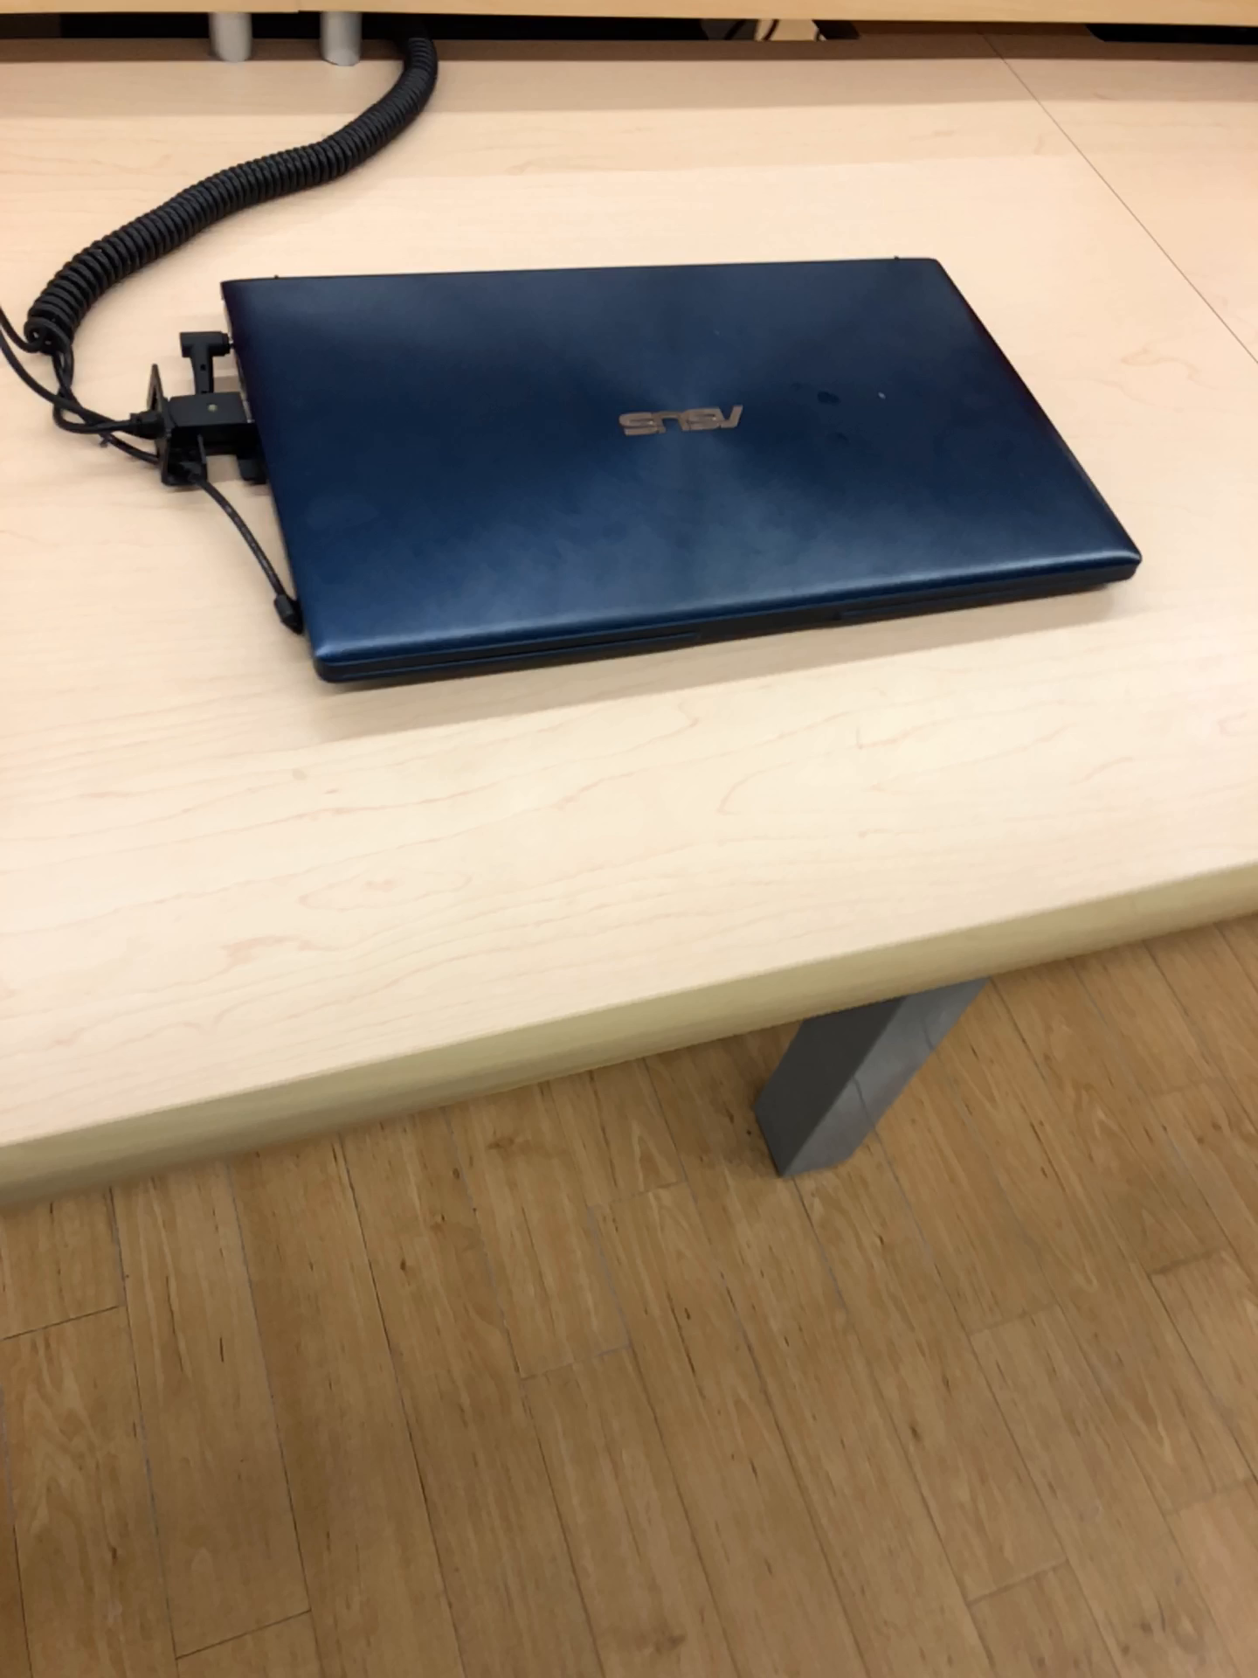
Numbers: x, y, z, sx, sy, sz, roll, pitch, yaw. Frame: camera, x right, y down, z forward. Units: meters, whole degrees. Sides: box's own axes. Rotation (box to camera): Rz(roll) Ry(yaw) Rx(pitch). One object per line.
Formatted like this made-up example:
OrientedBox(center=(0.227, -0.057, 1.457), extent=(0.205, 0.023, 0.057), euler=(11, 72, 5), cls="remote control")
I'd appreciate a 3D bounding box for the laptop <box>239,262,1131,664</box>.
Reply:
OrientedBox(center=(0.021, -0.151, 0.507), extent=(0.295, 0.001, 0.178), euler=(-10, 59, -18), cls="laptop")
